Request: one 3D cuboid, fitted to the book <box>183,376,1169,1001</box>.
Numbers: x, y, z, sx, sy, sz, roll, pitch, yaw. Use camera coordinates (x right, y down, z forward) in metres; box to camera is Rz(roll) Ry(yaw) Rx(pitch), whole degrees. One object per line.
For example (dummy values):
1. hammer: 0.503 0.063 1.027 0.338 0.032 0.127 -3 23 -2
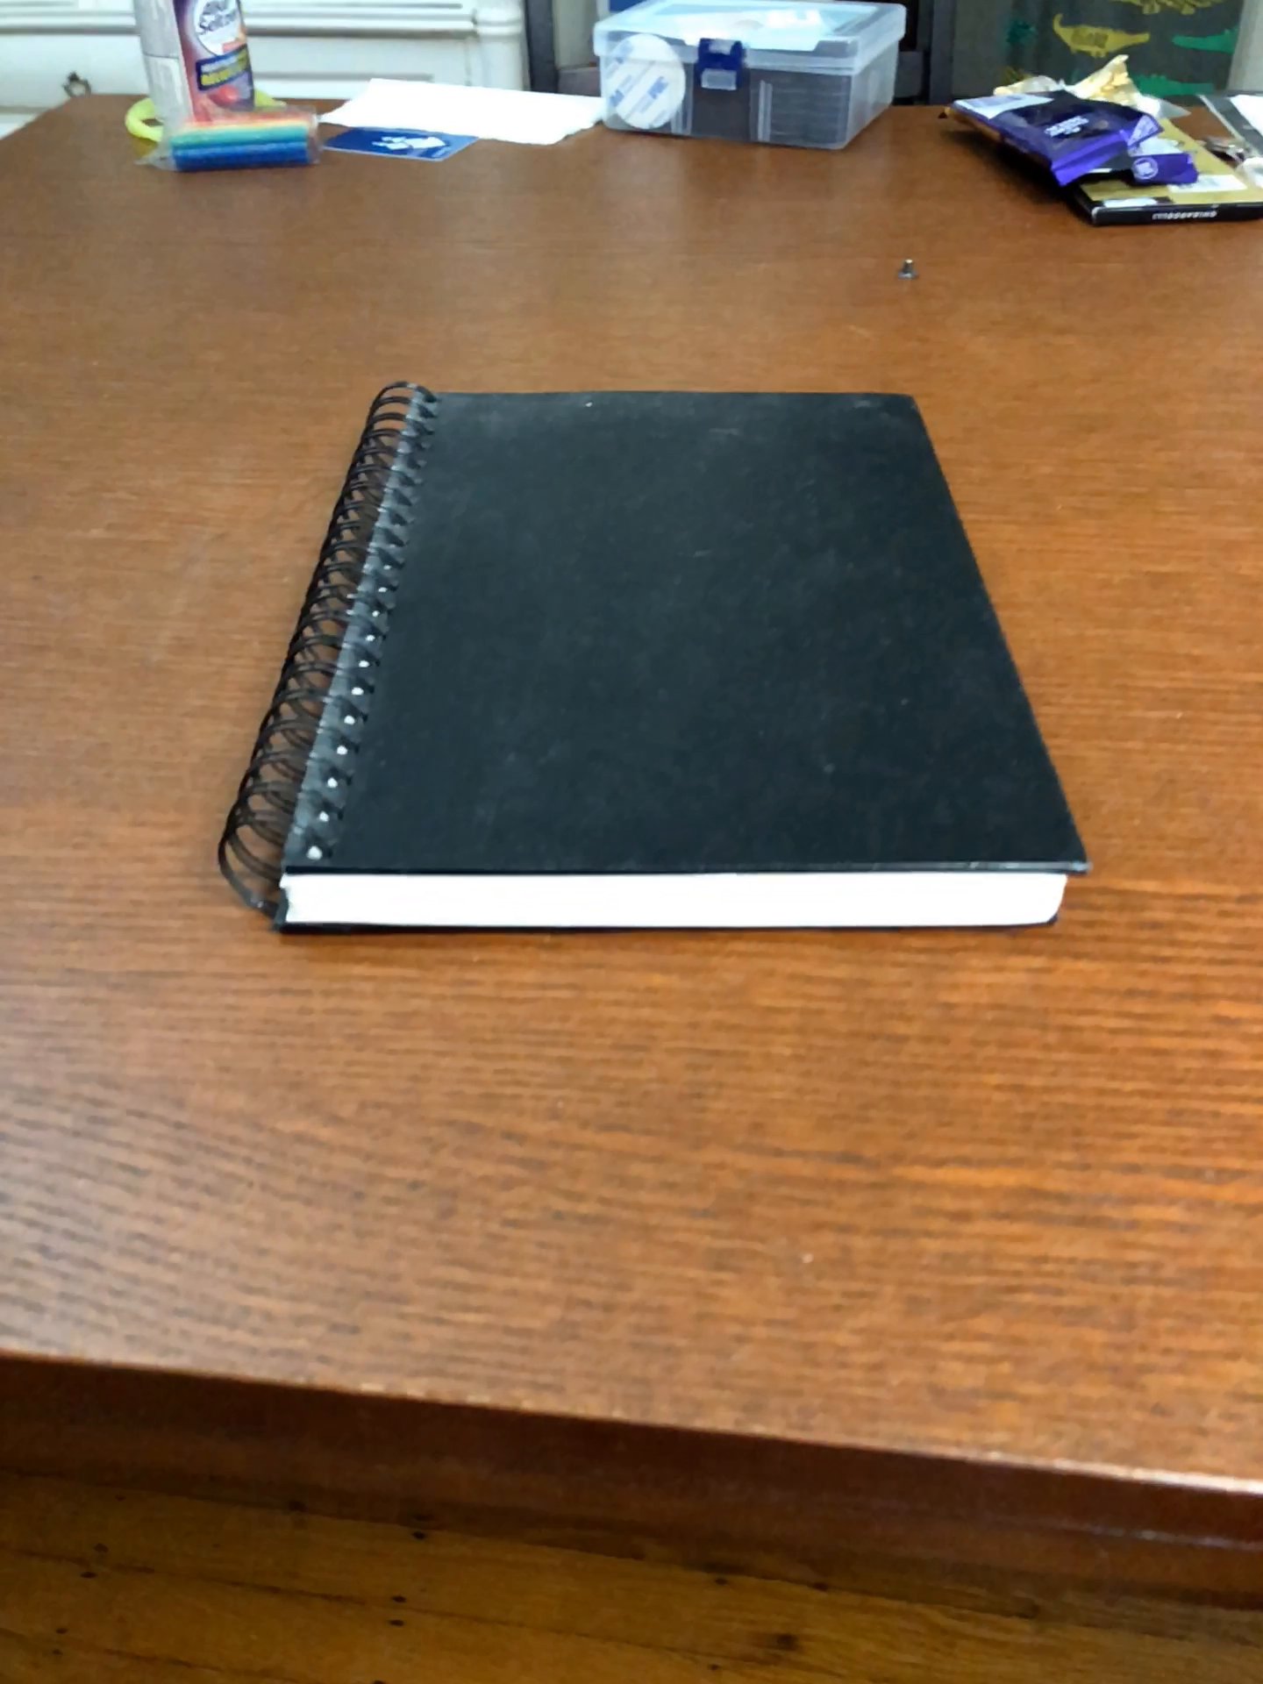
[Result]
1. book: 0.008 -0.063 0.392 0.200 0.030 0.261 -1 40 0
